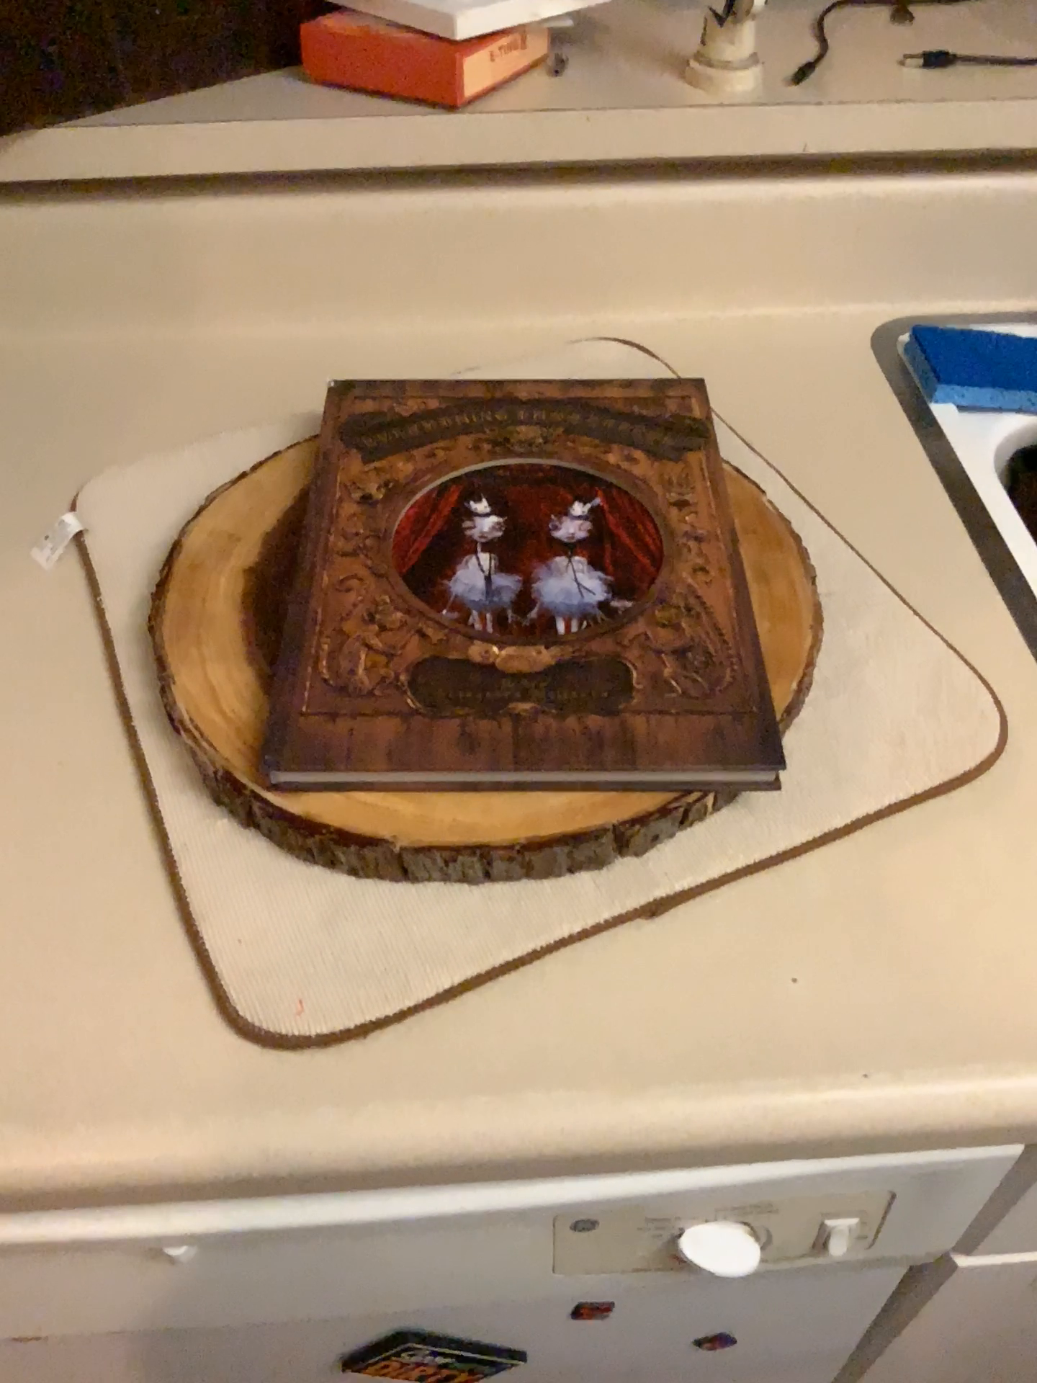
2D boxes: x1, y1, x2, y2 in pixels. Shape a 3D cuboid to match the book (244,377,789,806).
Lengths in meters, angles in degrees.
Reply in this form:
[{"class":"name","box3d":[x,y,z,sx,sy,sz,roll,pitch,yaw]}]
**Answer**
[{"class":"book","box3d":[-0.002,-0.071,0.598,0.230,0.020,0.310,0,47,0]}]
